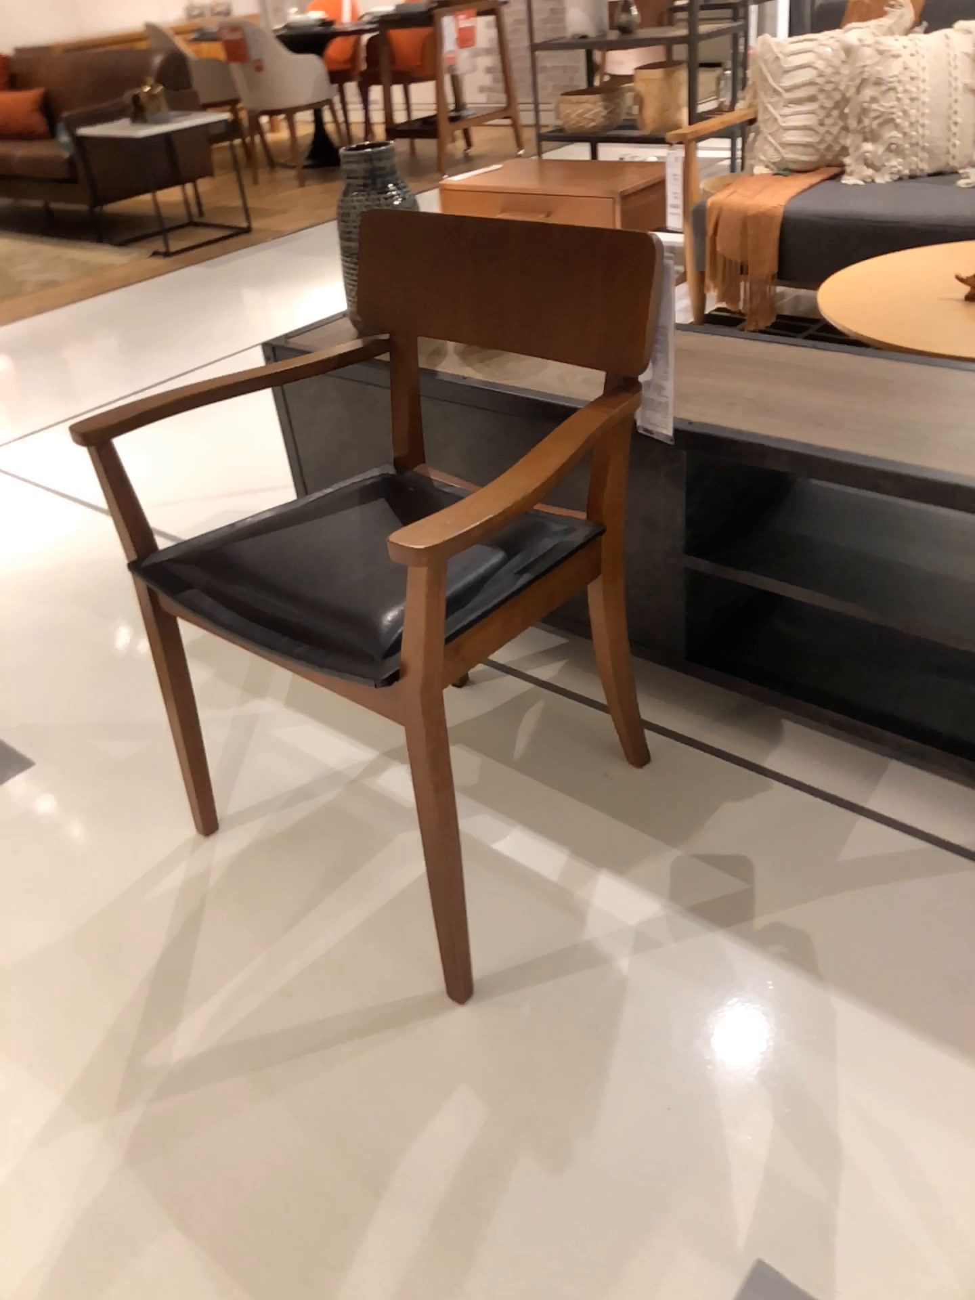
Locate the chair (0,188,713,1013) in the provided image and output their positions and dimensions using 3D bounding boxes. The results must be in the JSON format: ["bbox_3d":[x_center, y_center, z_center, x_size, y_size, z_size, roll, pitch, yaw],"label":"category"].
[{"bbox_3d":[-0.113,-0.116,1.350,0.562,0.744,0.572,21,42,36],"label":"chair"}]
